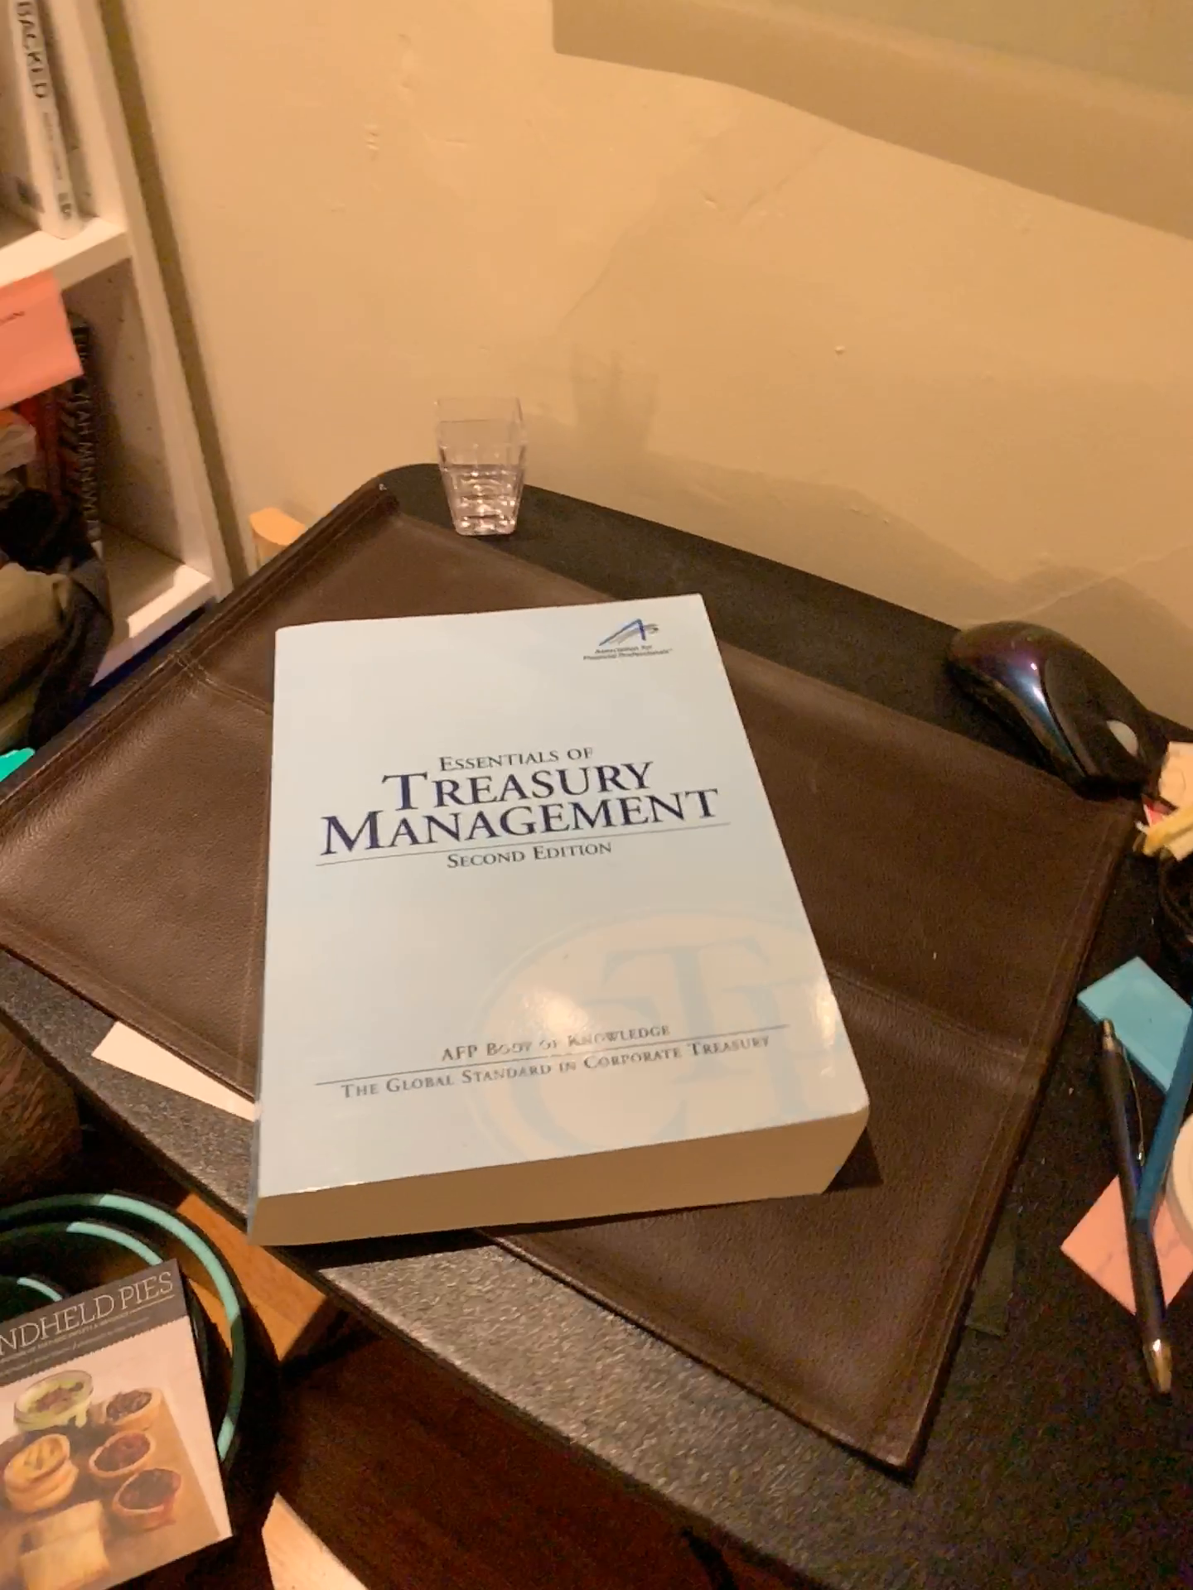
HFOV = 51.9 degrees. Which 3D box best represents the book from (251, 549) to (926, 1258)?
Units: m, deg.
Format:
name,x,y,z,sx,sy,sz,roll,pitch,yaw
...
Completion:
name,x,y,z,sx,sy,sz,roll,pitch,yaw
book,-0.020,0.021,0.516,0.220,0.060,0.301,-4,50,-6
